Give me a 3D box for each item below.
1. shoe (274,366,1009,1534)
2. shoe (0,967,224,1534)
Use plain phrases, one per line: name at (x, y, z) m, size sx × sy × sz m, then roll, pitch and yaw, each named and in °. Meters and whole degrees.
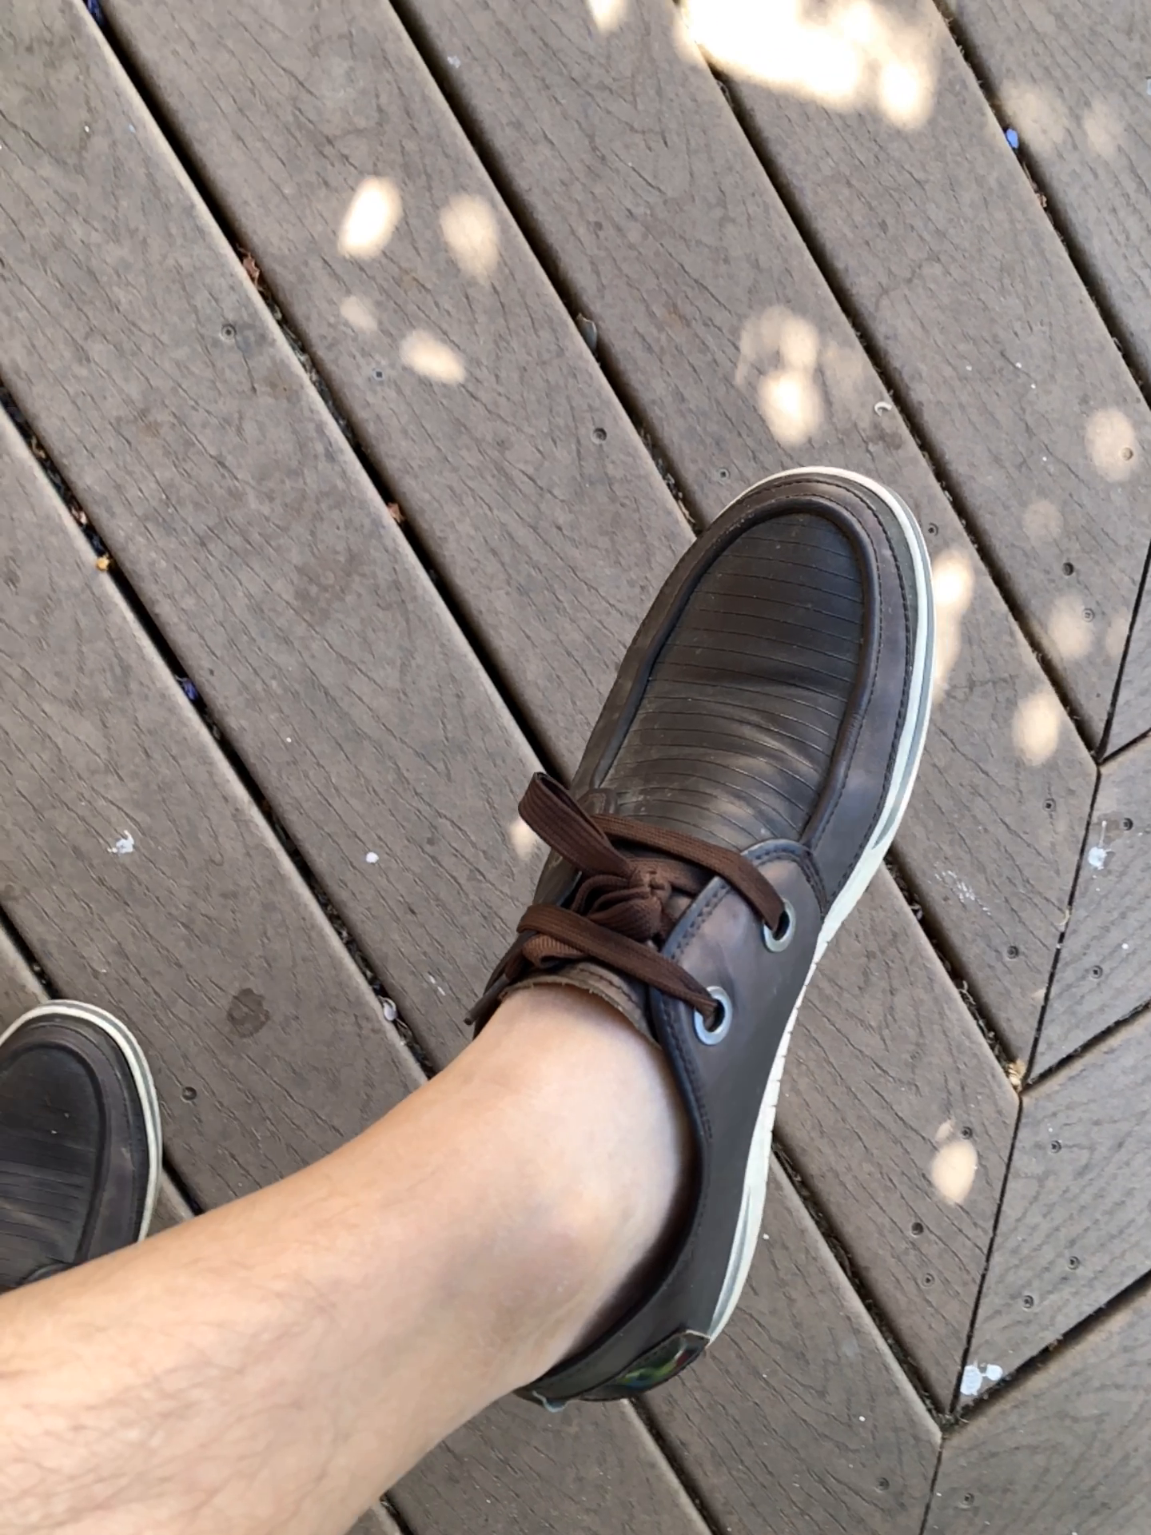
shoe at (0.020, 0.039, 0.331) m, size 0.090 × 0.084 × 0.255 m, roll 18°, pitch 90°, yaw 34°
shoe at (-0.257, 0.232, 0.579) m, size 0.103 × 0.099 × 0.245 m, roll 19°, pitch 89°, yaw -10°
